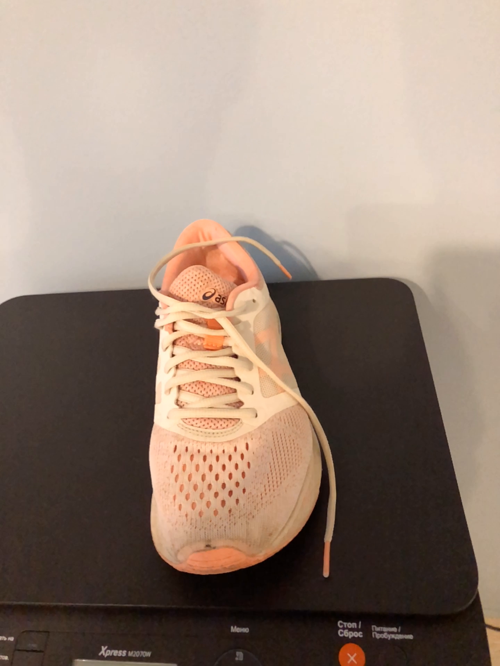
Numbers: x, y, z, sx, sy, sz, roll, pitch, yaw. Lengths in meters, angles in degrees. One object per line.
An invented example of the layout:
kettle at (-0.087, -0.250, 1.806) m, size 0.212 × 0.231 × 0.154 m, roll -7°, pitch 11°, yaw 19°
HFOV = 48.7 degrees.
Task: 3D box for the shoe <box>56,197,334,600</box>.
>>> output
shoe at (-0.017, 0.020, 0.355) m, size 0.116 × 0.089 × 0.255 m, roll -4°, pitch 42°, yaw 5°
